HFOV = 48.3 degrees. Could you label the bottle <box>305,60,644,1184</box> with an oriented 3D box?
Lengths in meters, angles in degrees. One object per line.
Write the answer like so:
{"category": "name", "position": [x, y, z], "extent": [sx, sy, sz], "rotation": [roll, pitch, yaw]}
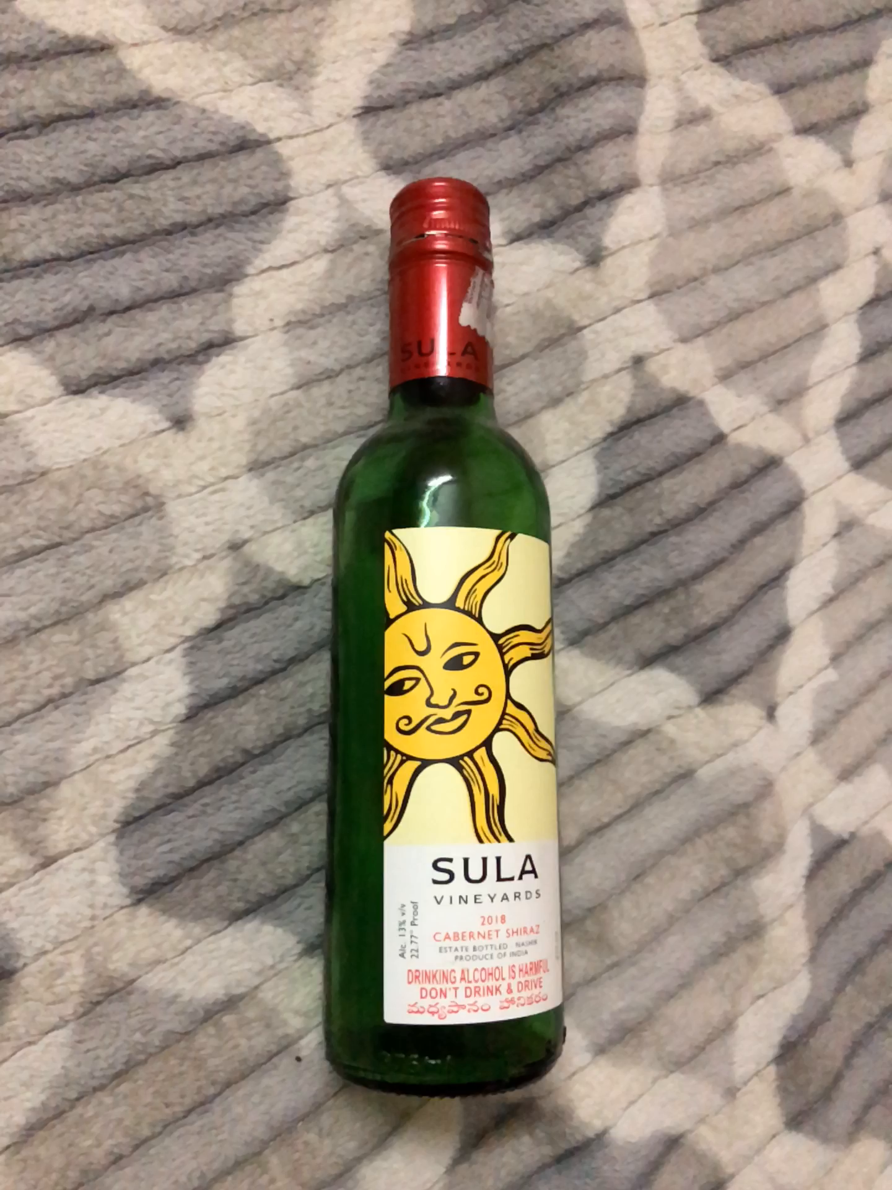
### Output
{"category": "bottle", "position": [0.007, 0.001, 0.235], "extent": [0.060, 0.050, 0.230], "rotation": [5, 80, -20]}
